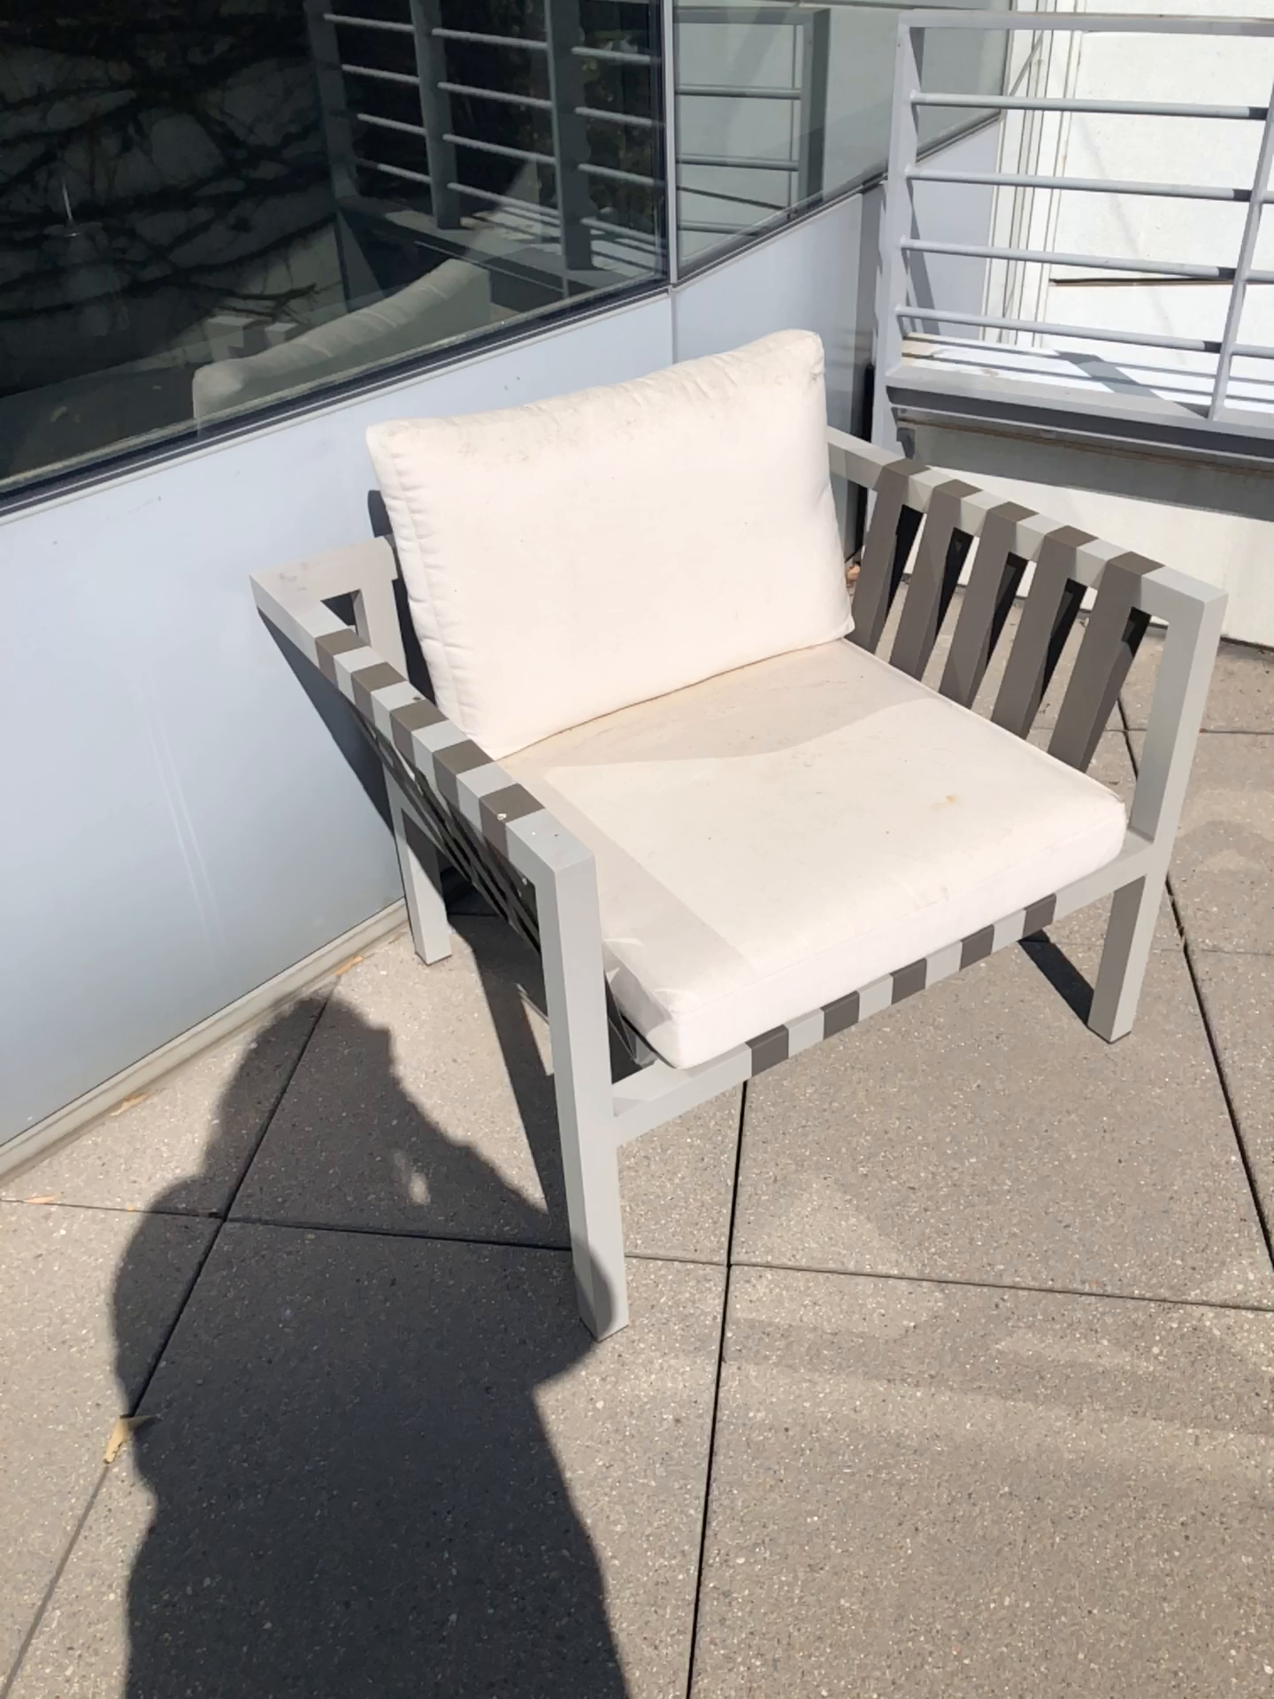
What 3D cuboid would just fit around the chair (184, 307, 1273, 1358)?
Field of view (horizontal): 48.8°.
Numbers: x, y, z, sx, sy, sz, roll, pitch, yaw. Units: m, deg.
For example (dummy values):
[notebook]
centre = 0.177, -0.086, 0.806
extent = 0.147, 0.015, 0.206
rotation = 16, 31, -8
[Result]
[chair]
centre = 0.090, -0.115, 1.685
extent = 0.871, 0.736, 0.783
rotation = -23, 40, -26
